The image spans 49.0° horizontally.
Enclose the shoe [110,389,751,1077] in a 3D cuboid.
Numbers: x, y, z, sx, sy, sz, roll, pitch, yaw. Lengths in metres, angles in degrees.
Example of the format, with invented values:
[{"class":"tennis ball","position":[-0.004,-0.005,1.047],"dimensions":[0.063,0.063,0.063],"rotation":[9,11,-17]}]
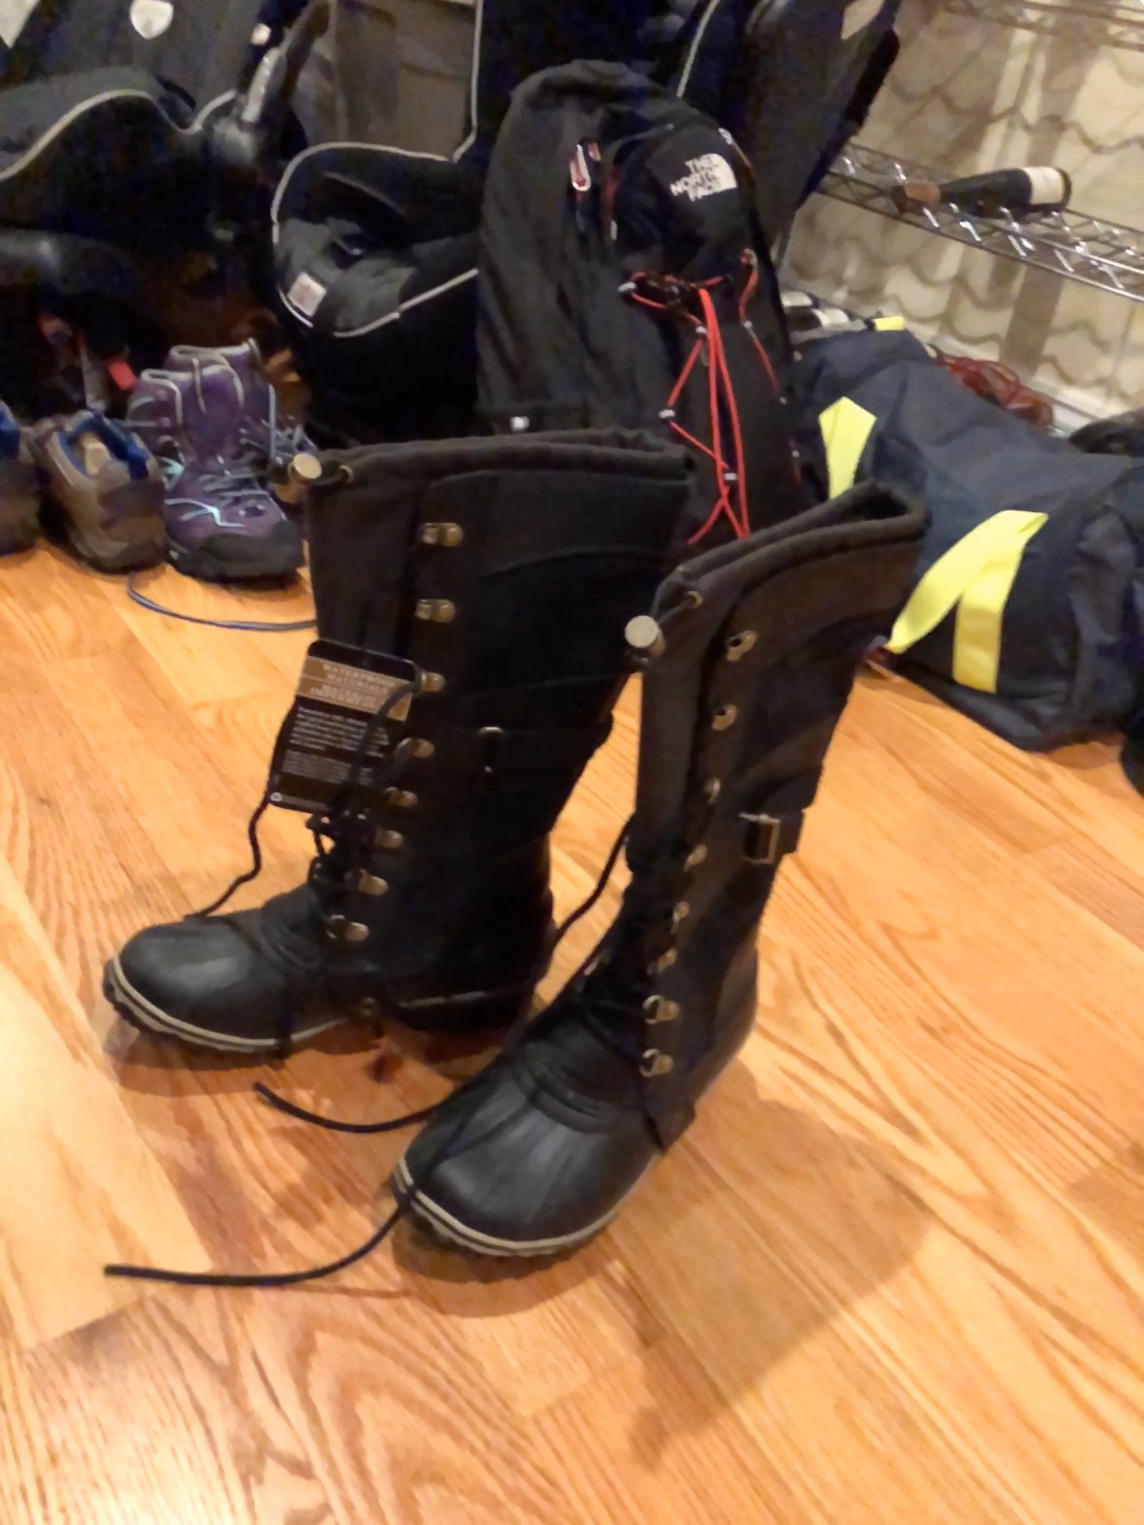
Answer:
[{"class":"shoe","position":[-0.086,-0.007,0.622],"dimensions":[0.260,0.308,0.101],"rotation":[-2,35,-22]}]

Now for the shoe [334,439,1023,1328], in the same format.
[{"class":"shoe","position":[0.042,0.045,0.567],"dimensions":[0.100,0.328,0.261],"rotation":[34,38,31]}]
